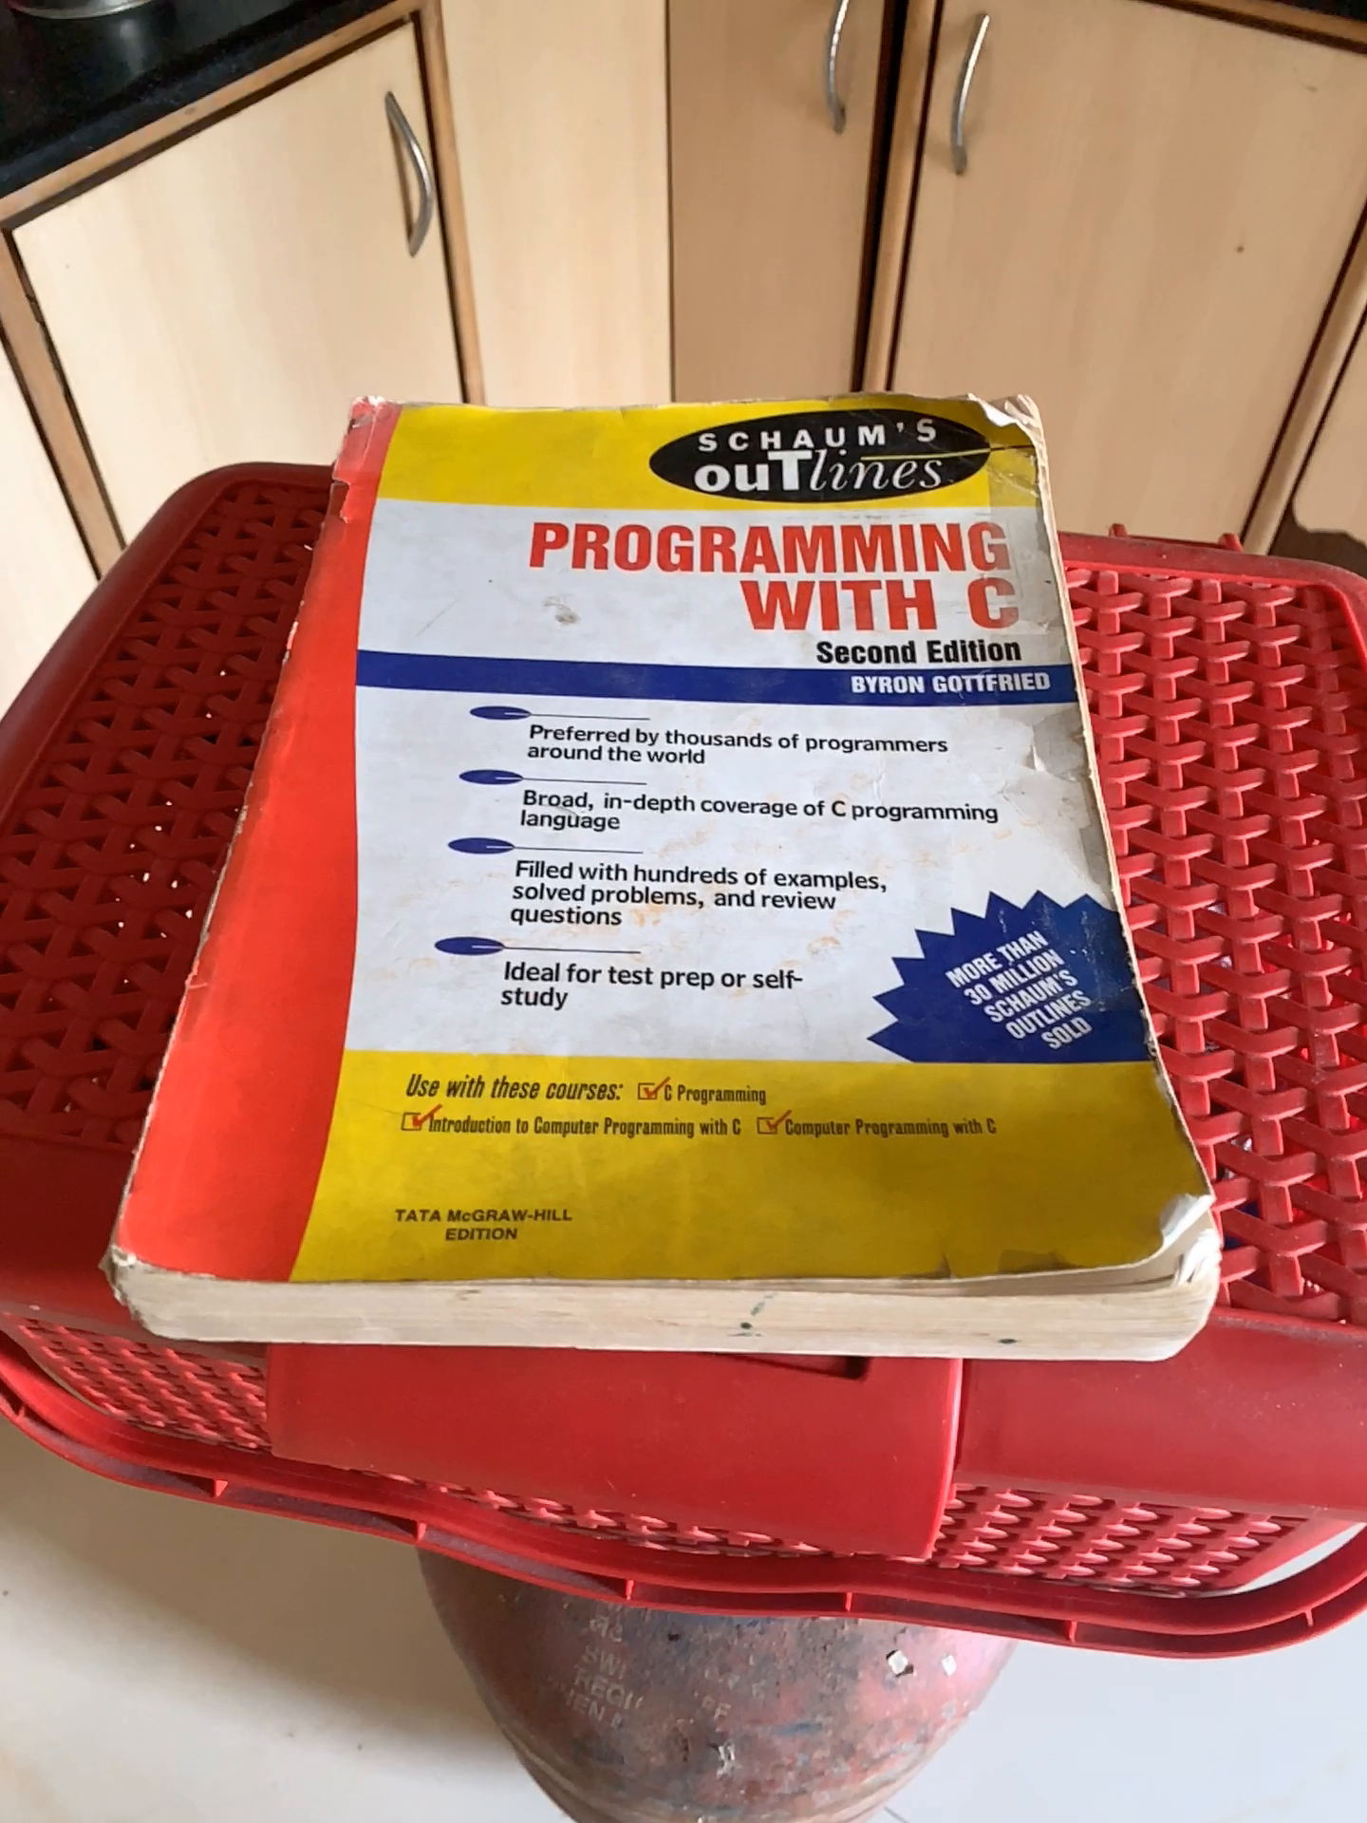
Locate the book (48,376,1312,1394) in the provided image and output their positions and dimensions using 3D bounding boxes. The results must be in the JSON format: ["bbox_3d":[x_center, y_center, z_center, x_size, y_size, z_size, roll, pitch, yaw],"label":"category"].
[{"bbox_3d":[0.003,-0.028,0.320,0.200,0.050,0.252,1,52,1],"label":"book"}]
